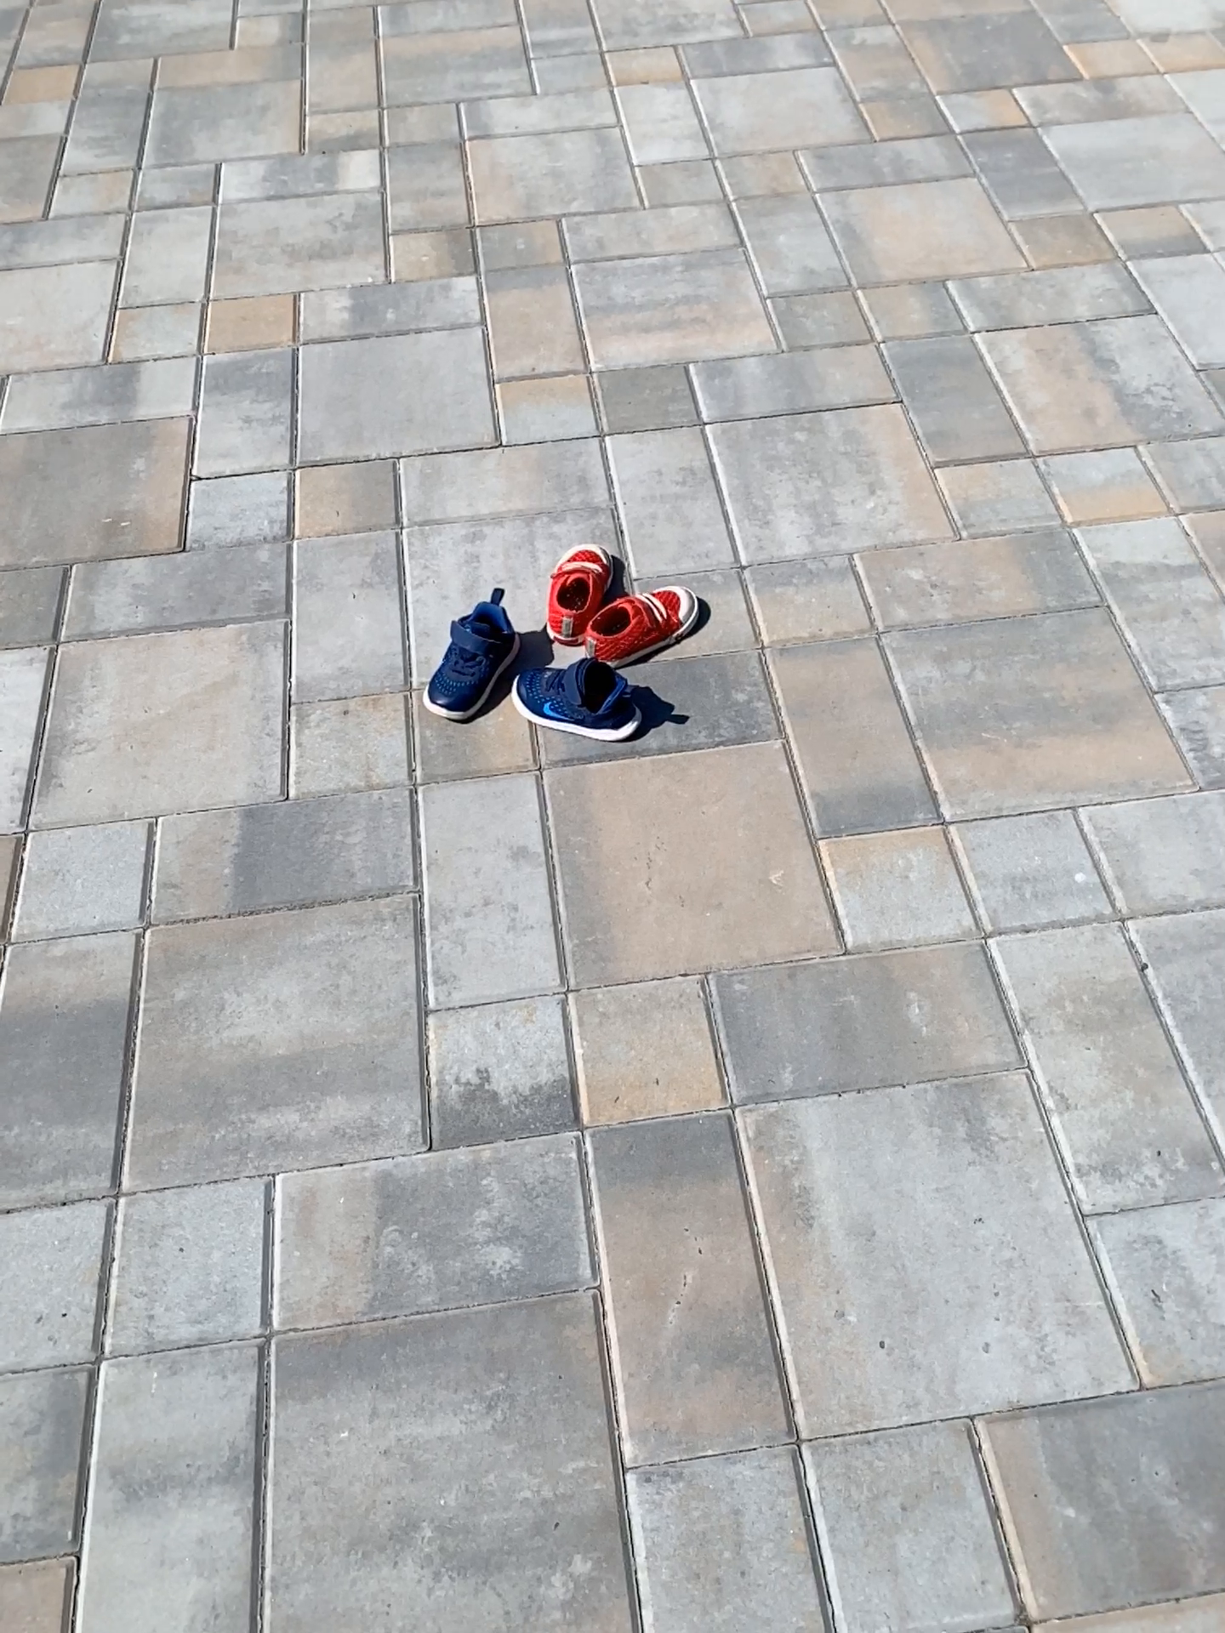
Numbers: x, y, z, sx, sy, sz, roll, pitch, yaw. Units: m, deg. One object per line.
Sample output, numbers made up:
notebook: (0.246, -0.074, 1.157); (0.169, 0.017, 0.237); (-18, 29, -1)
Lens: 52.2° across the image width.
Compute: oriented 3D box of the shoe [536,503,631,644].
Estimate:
shoe: (-0.034, -0.310, 1.586); (0.080, 0.070, 0.170); (9, 55, 9)

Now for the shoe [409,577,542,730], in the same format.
shoe: (-0.163, -0.200, 1.519); (0.080, 0.070, 0.170); (21, 57, 16)

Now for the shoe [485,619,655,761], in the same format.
shoe: (-0.049, -0.153, 1.508); (0.180, 0.090, 0.090); (18, 57, 15)

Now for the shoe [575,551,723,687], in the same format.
shoe: (0.047, -0.249, 1.570); (0.170, 0.070, 0.080); (-33, 59, -20)
